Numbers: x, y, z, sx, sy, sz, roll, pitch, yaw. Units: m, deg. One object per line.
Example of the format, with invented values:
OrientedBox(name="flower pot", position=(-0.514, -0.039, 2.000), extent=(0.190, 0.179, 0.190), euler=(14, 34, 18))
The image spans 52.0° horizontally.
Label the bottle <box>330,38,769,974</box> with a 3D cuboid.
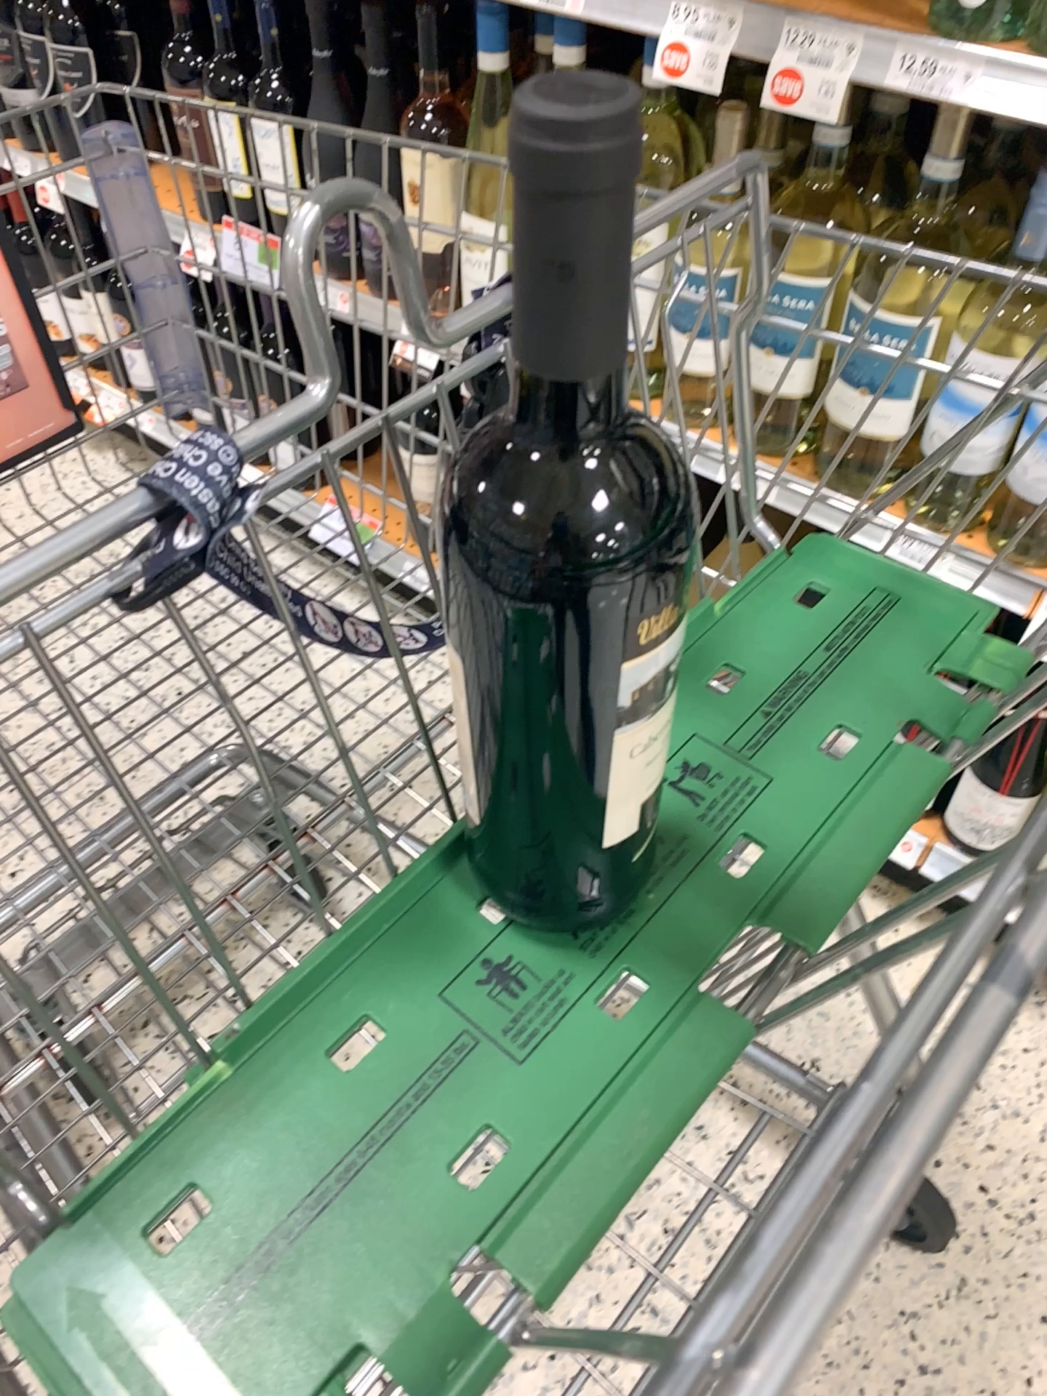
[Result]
OrientedBox(name="bottle", position=(0.012, -0.029, 0.325), extent=(0.074, 0.277, 0.081), euler=(-1, 47, 1))
